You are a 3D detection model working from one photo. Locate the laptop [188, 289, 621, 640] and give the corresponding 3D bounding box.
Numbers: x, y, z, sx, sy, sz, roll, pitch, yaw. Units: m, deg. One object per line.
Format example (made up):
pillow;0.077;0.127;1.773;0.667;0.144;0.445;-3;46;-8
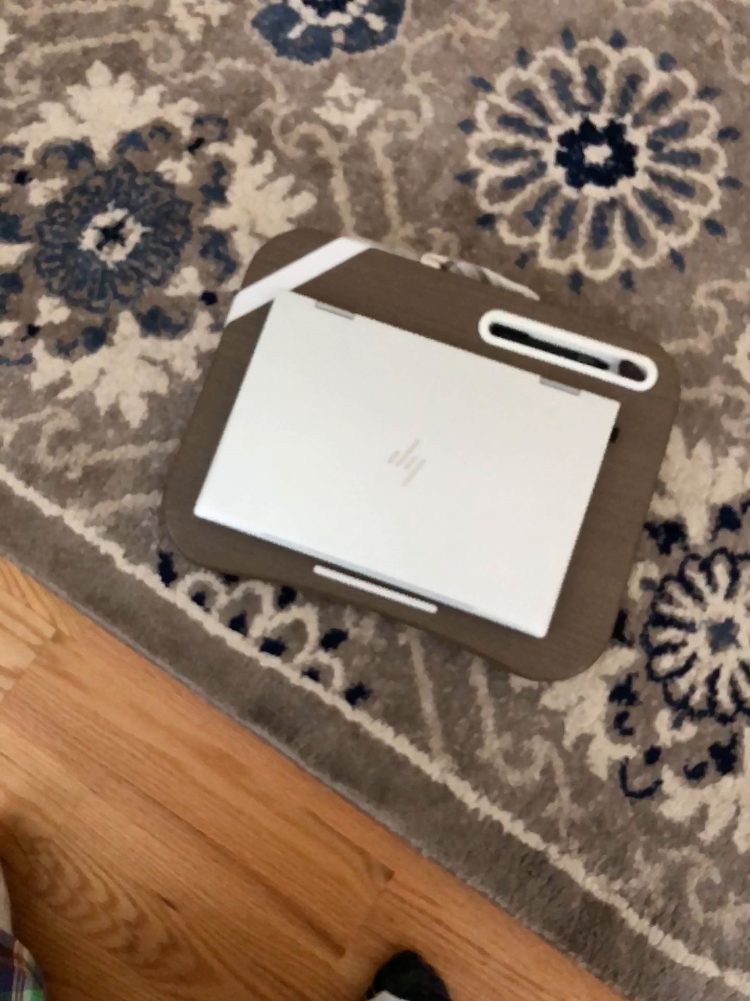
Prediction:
laptop;0.030;-0.039;0.817;0.354;0.026;0.241;19;80;4
